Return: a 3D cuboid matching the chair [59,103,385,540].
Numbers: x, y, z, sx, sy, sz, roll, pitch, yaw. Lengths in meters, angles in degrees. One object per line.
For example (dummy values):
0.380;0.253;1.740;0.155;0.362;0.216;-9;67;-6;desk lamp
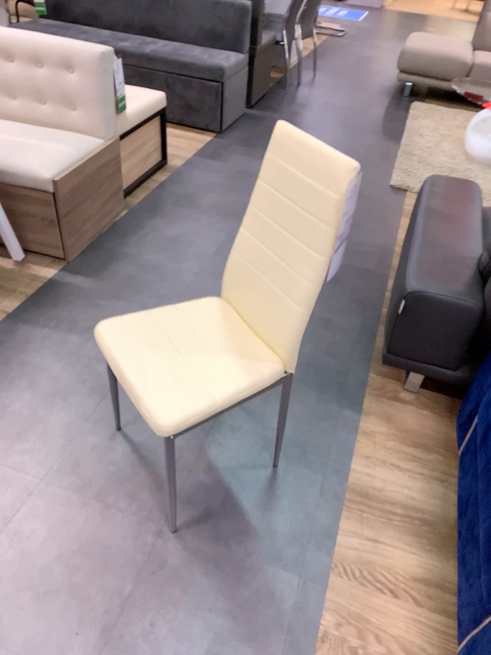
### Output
-0.092;0.009;1.271;0.478;0.940;0.447;-19;46;-27;chair
